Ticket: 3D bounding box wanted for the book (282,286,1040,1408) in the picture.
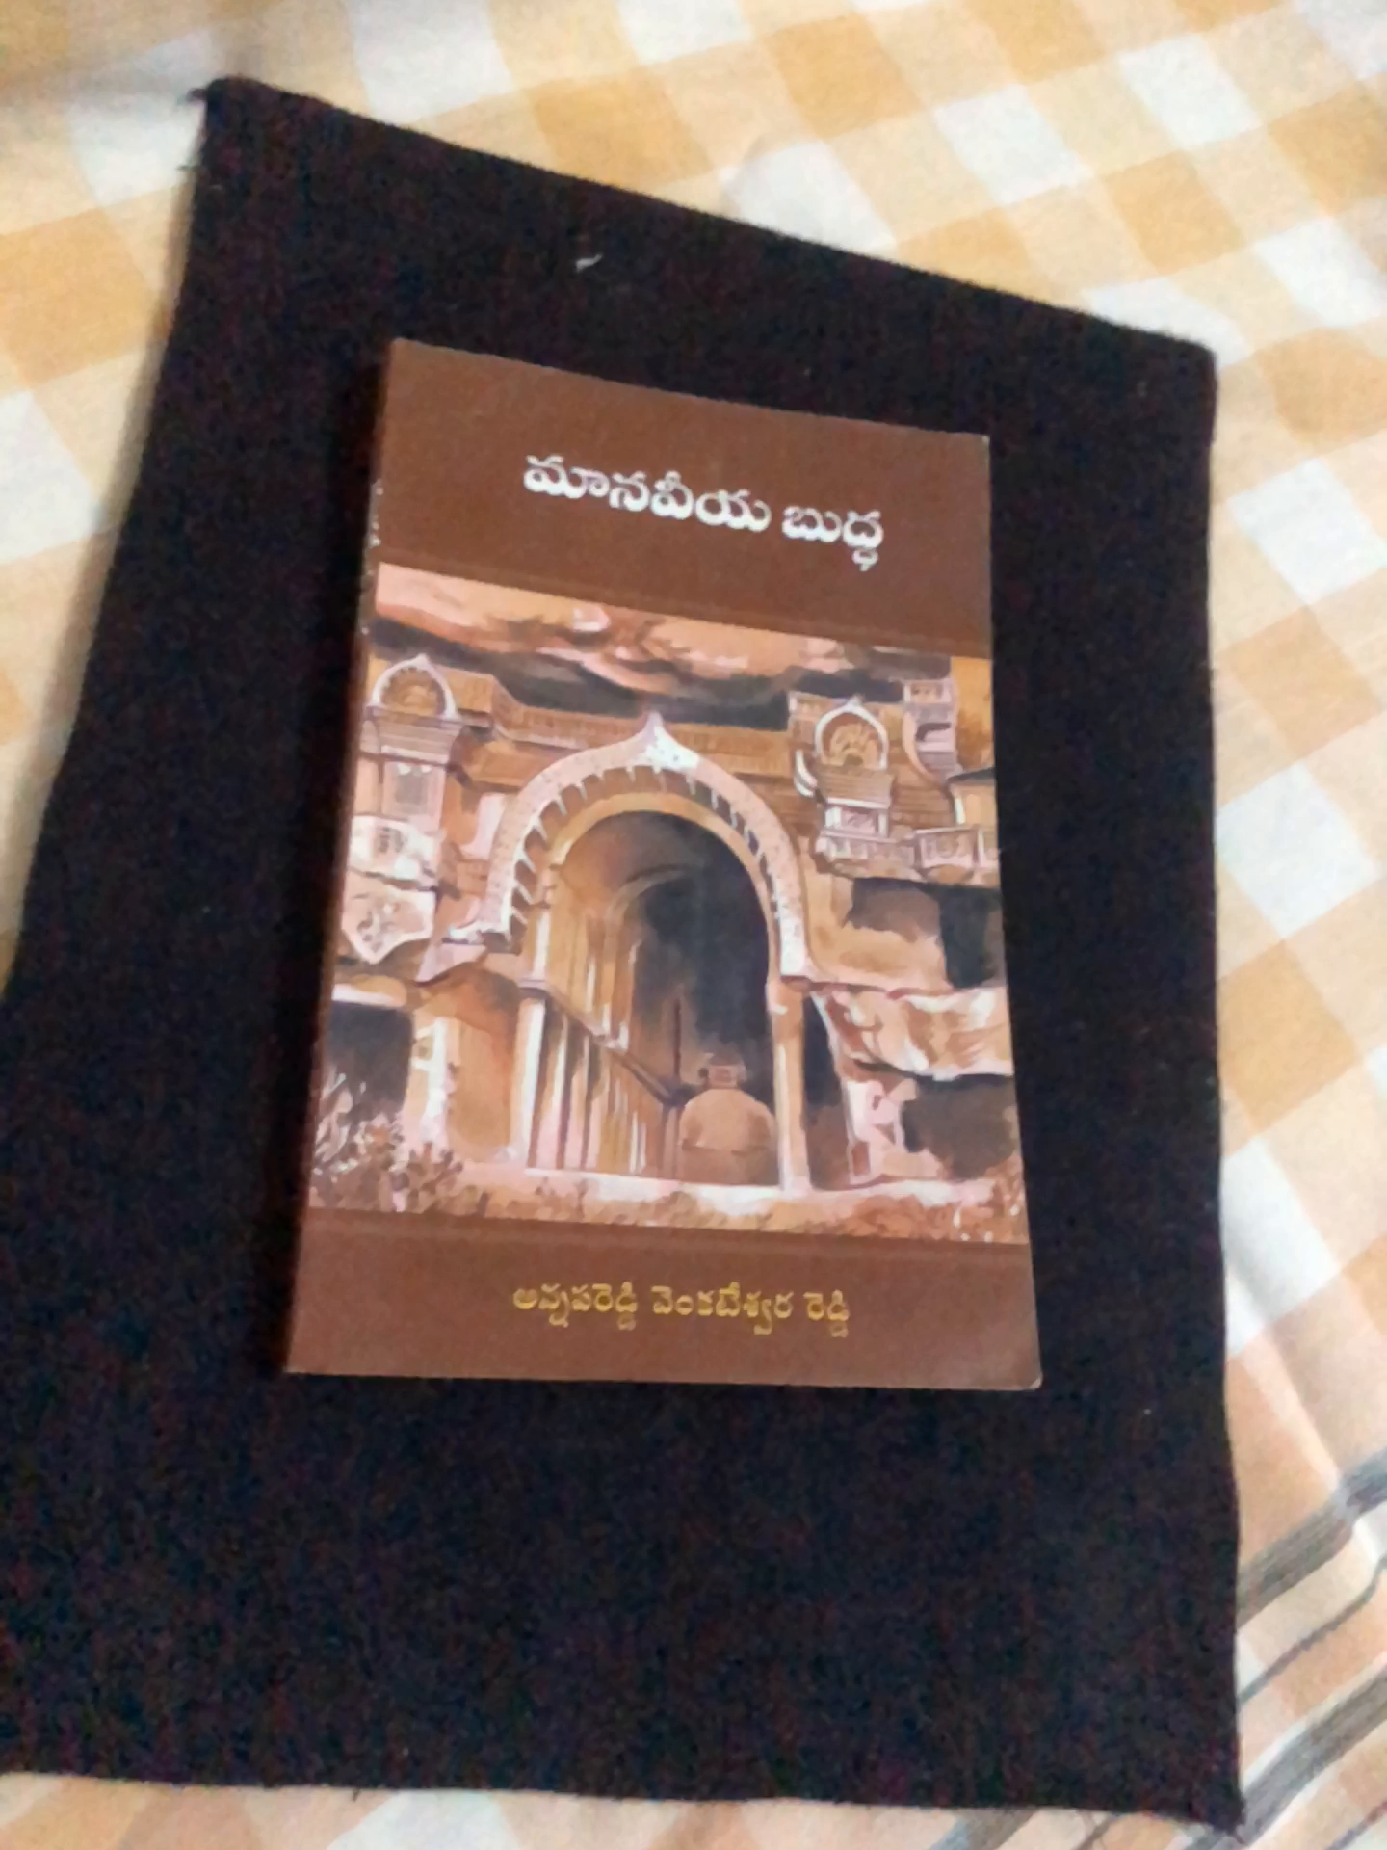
[{"bbox_3d":[-0.002,-0.021,0.323,0.140,0.020,0.230,5,72,-12],"label":"book"}]
